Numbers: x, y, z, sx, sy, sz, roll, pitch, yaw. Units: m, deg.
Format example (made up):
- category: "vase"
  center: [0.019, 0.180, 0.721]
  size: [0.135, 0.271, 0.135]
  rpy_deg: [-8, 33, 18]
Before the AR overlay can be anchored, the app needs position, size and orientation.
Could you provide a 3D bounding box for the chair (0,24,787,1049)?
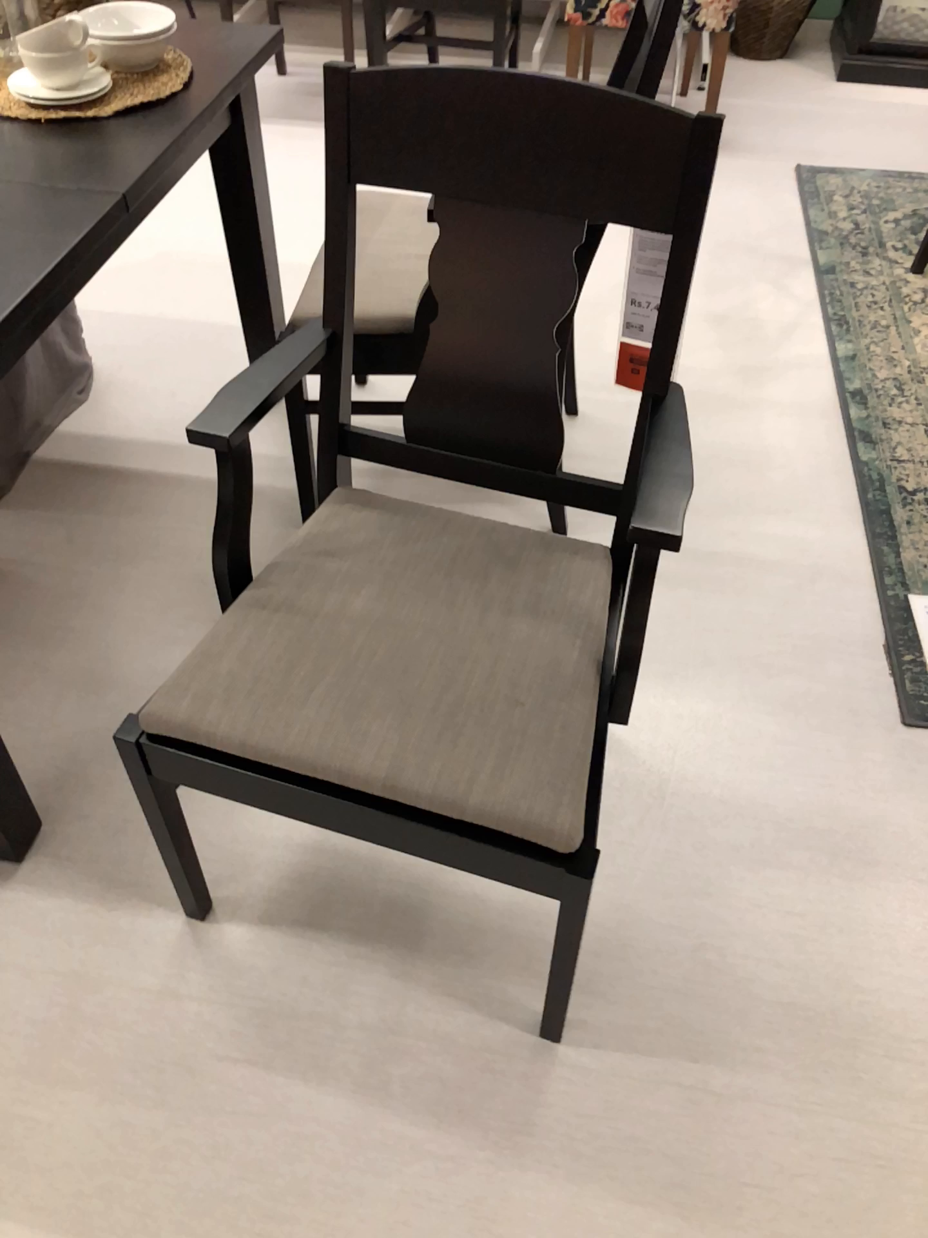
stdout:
- category: "chair"
  center: [-0.049, -0.041, 1.218]
  size: [0.570, 0.994, 0.573]
  rpy_deg: [13, 48, 12]
